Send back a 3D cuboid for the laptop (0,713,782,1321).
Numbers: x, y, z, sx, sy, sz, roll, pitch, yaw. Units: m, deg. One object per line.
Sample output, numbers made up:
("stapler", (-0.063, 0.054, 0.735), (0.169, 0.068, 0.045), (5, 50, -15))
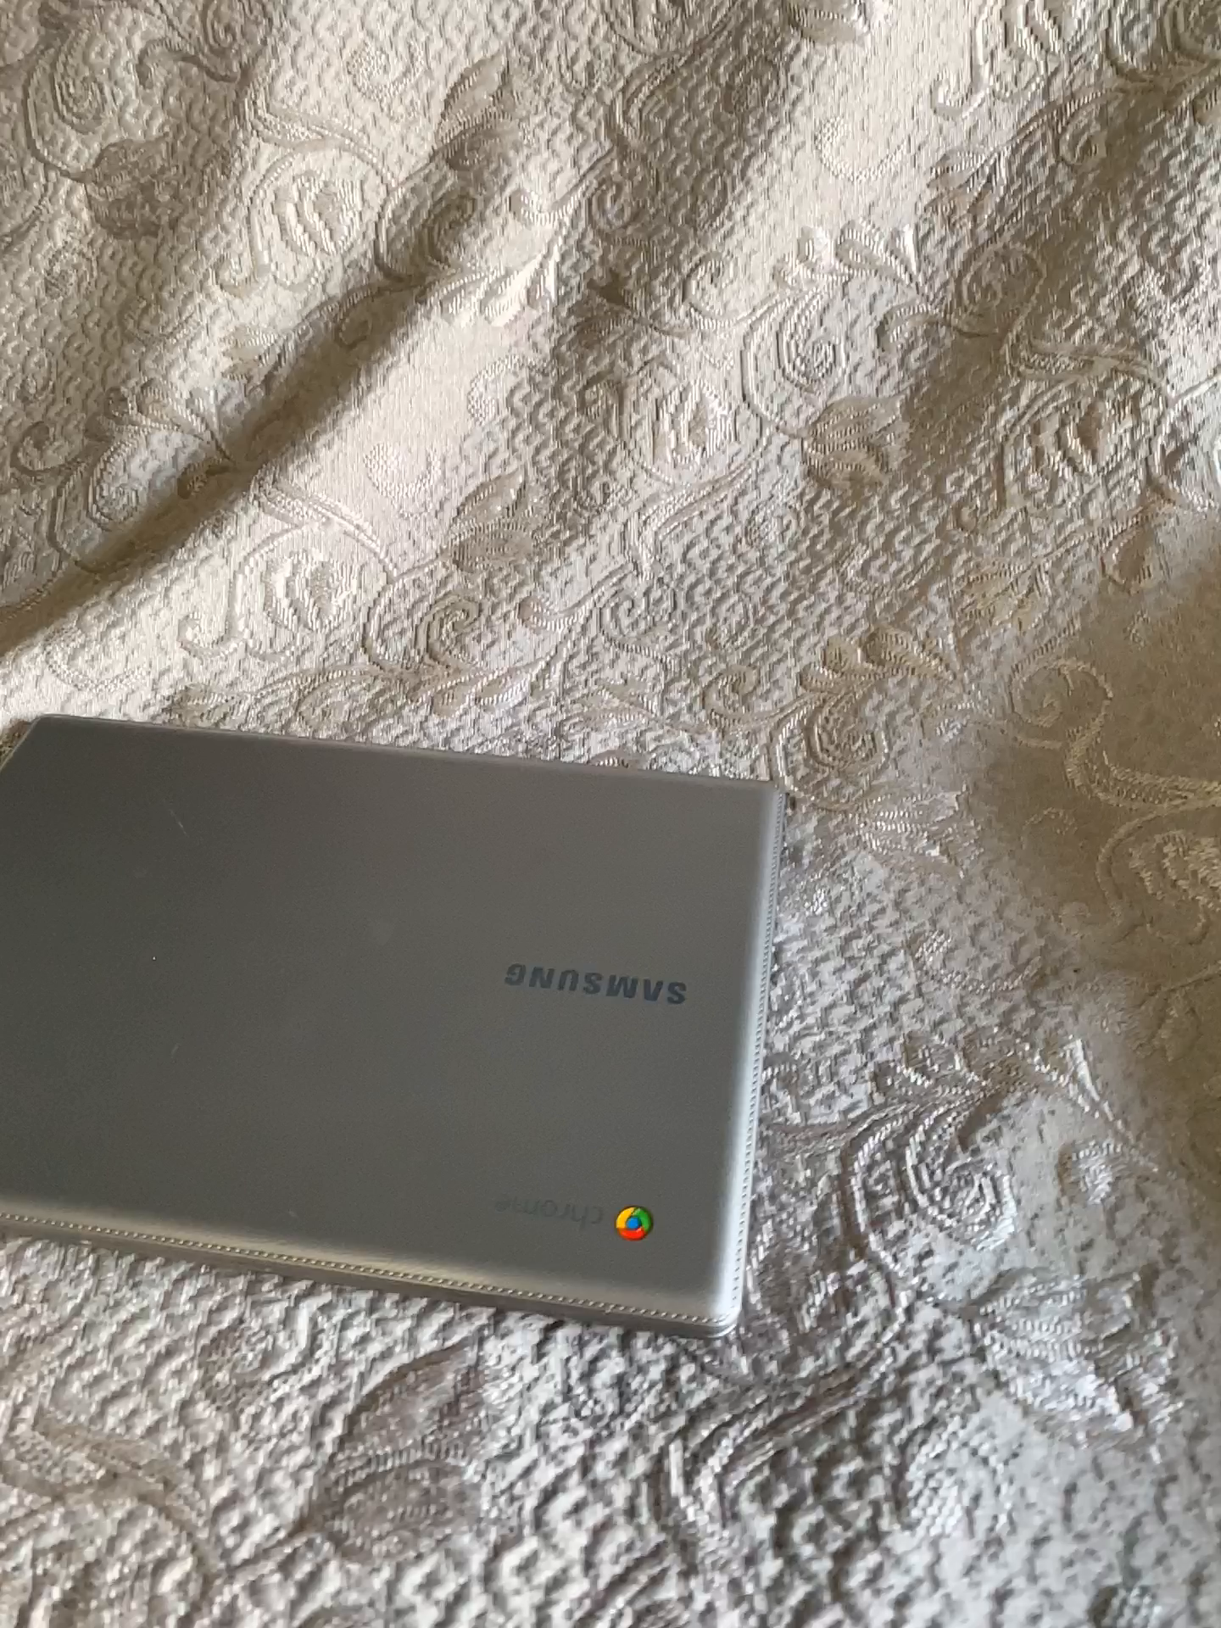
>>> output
("laptop", (-0.086, 0.042, 0.368), (0.264, 0.005, 0.176), (5, 47, 7))
